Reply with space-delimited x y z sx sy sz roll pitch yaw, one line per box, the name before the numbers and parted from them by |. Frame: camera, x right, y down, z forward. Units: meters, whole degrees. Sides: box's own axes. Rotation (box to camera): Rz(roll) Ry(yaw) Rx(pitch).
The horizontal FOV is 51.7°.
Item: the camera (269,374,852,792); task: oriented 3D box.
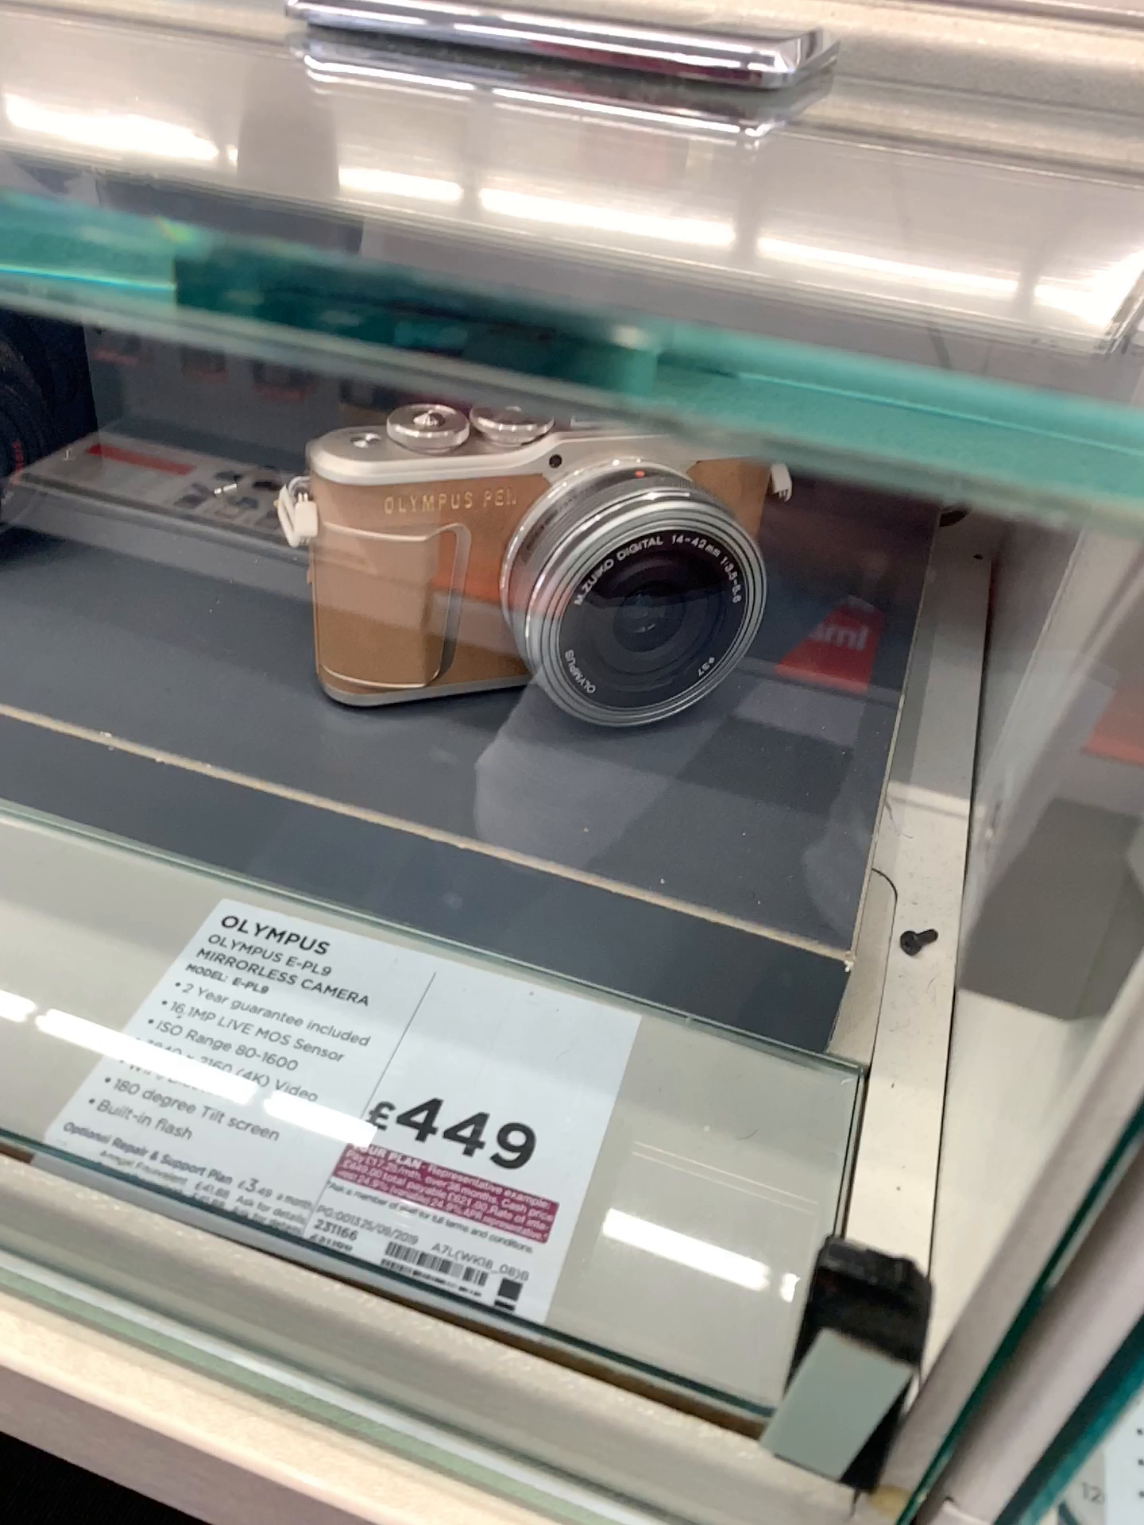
camera | -0.006 -0.048 0.290 0.120 0.069 0.061 -9 39 -19
